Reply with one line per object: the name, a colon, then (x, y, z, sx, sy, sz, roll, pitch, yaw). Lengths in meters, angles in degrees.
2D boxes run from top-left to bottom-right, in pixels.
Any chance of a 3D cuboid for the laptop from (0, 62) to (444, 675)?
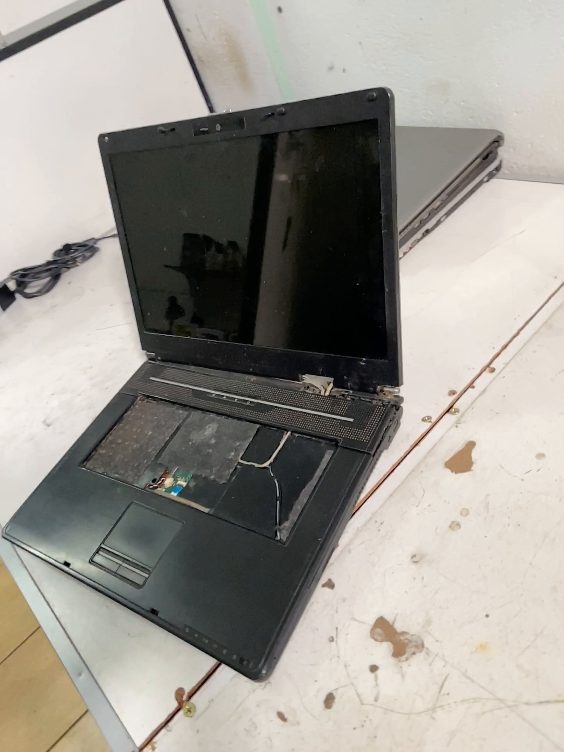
laptop: (-0.106, -0.035, 0.521, 0.345, 0.235, 0.380, 9, 52, 36)
